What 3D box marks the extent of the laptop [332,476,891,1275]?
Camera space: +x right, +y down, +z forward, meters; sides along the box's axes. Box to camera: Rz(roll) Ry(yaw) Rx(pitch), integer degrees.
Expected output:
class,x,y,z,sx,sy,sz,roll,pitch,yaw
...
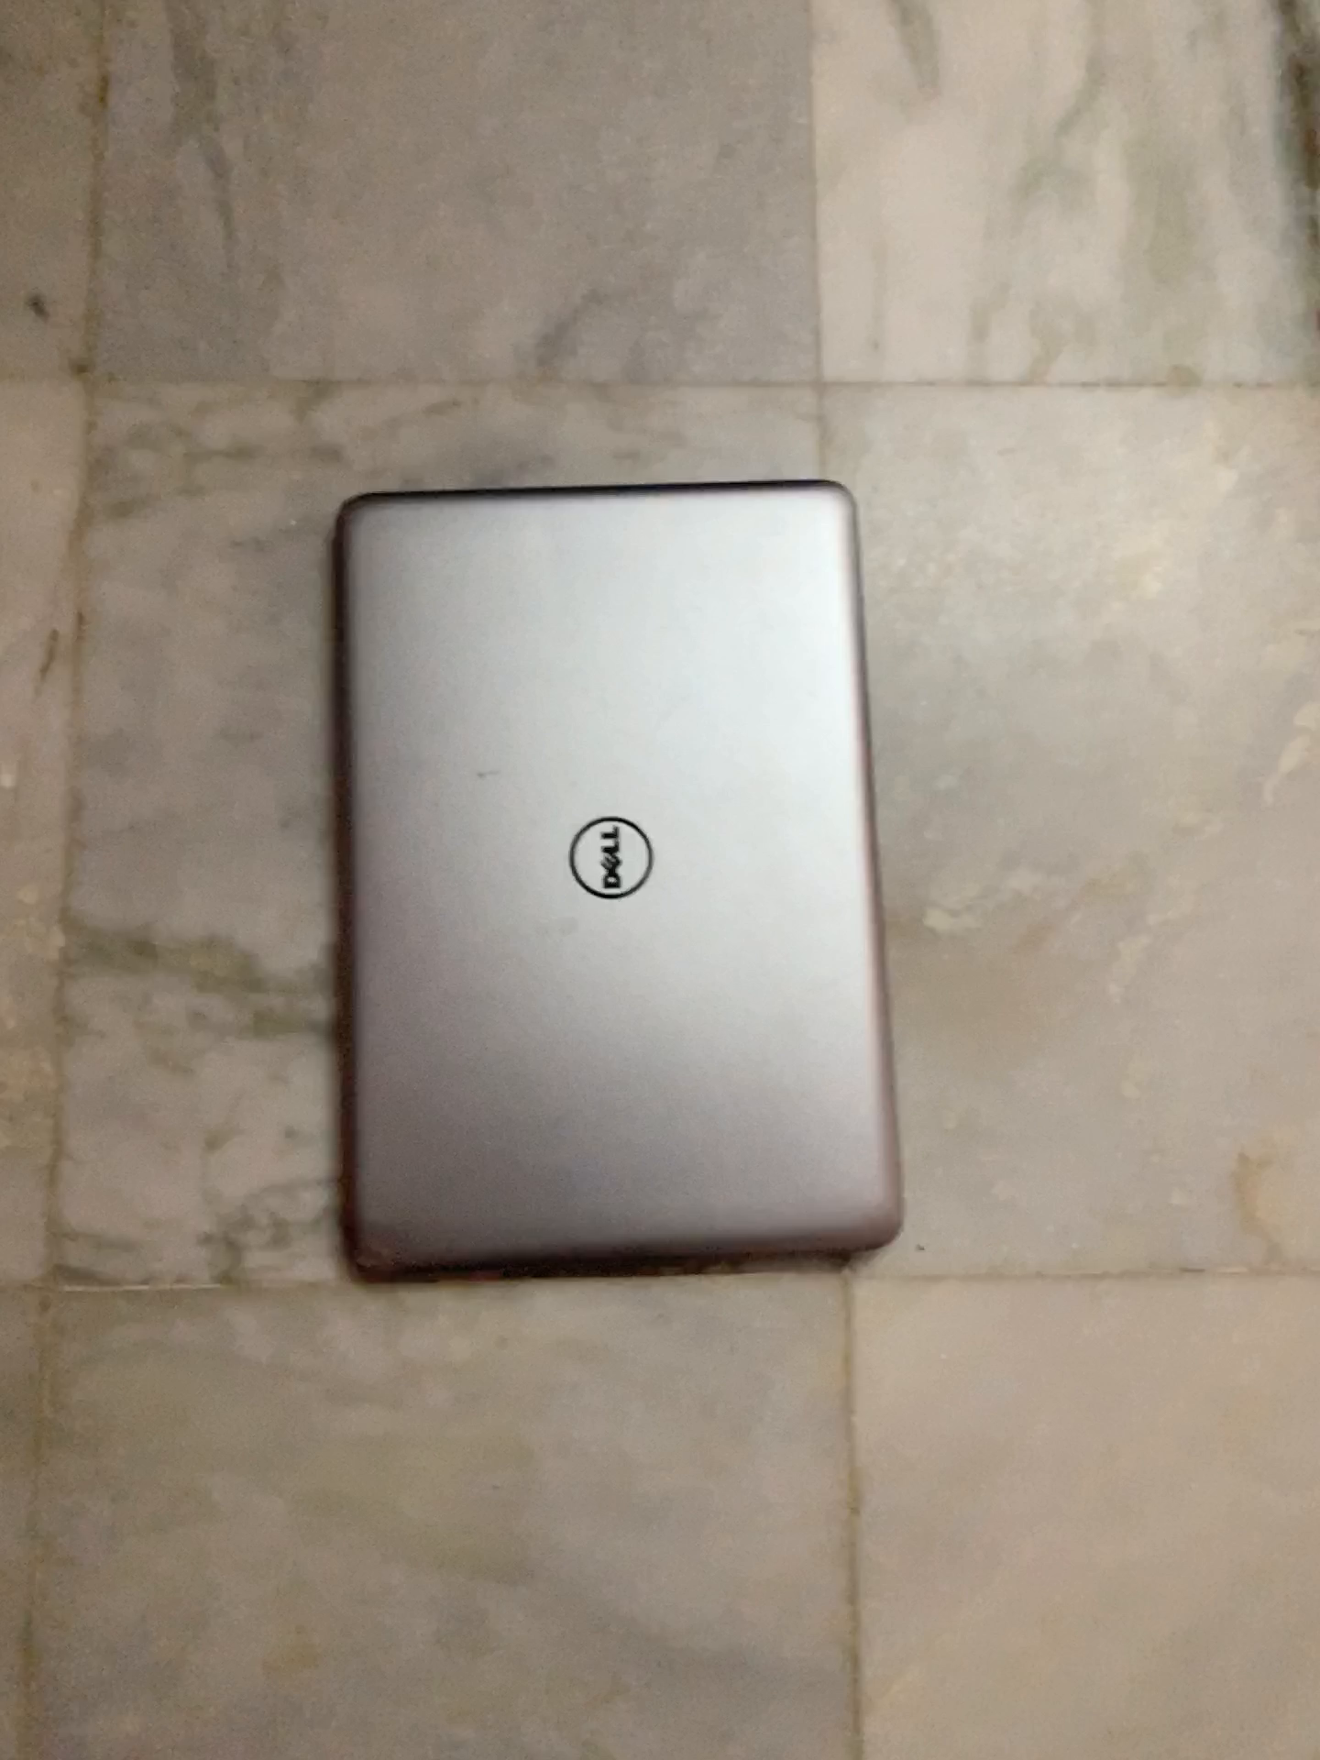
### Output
class,x,y,z,sx,sy,sz,roll,pitch,yaw
laptop,-0.024,-0.008,0.622,0.234,0.001,0.351,-4,85,-3
